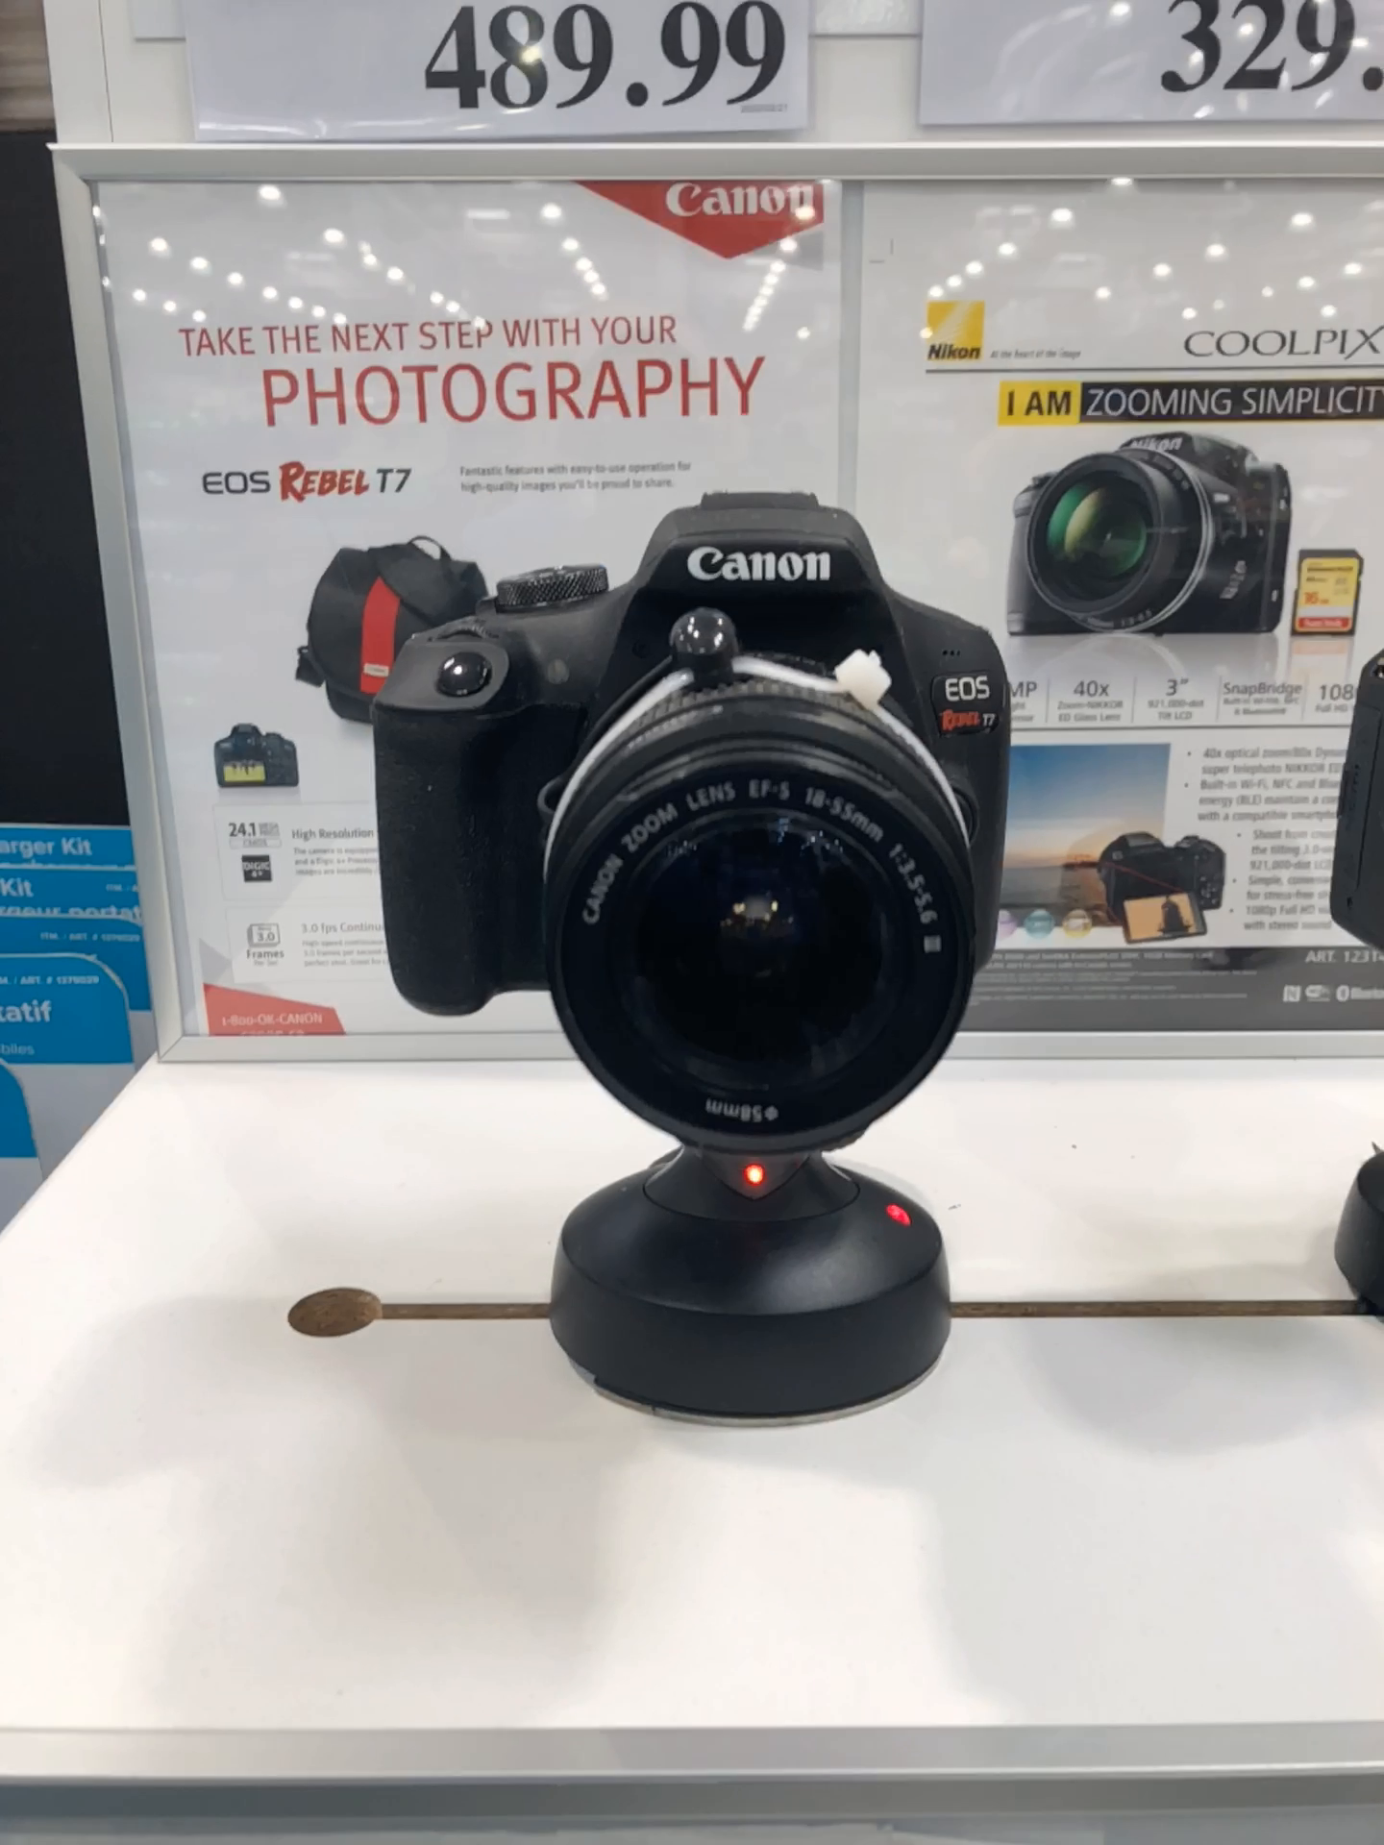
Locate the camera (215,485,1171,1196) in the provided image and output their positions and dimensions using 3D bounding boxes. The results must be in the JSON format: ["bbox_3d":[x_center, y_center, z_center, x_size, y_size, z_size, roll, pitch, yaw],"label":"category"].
[{"bbox_3d":[-0.001,-0.025,0.281,0.130,0.100,0.120,-1,17,-2],"label":"camera"}]
